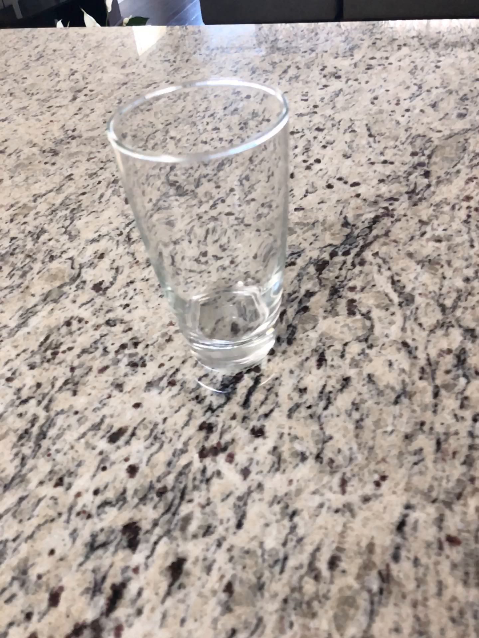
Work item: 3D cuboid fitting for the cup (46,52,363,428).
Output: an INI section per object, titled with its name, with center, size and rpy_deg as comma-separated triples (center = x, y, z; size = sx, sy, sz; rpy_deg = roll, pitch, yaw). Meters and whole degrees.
[cup]
center = -0.014, -0.041, 0.265
size = 0.100, 0.129, 0.101
rpy_deg = -4, 43, 4
